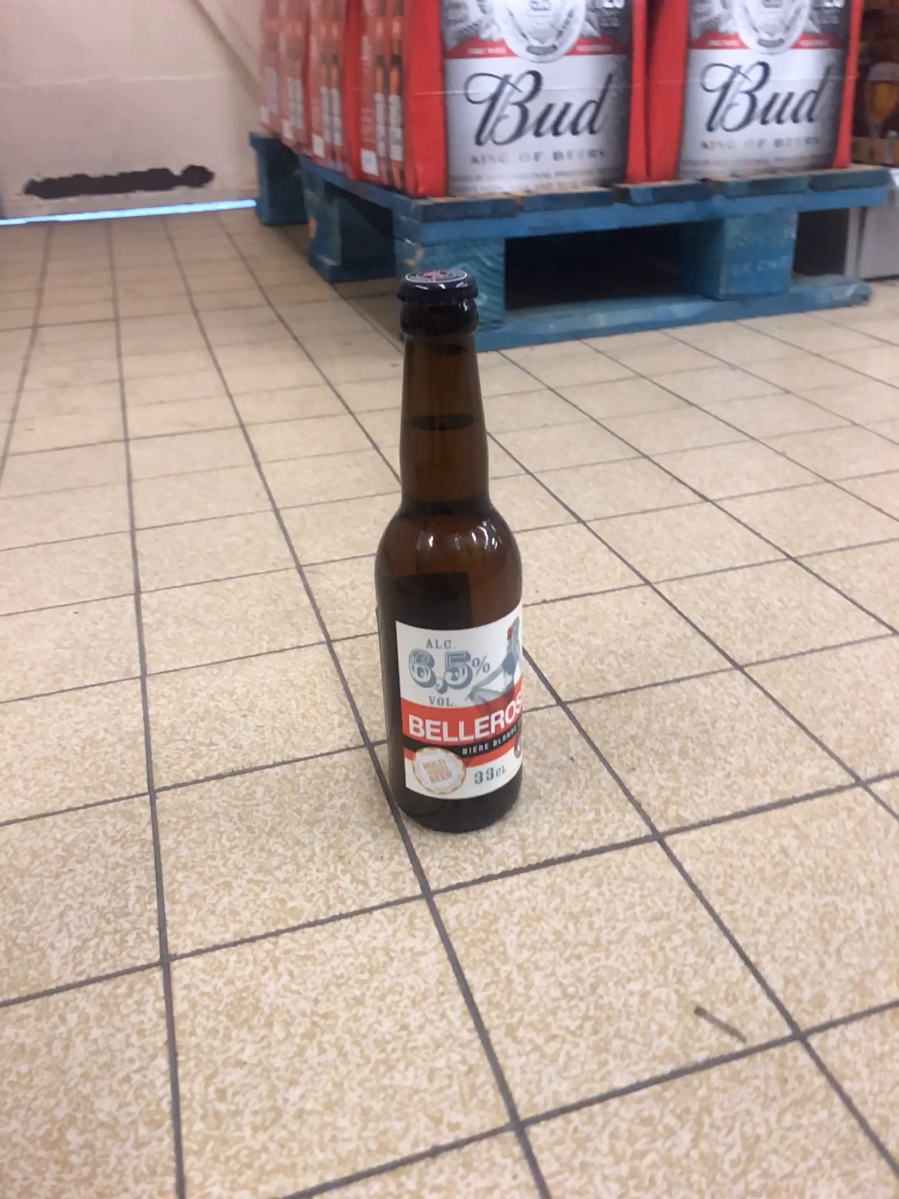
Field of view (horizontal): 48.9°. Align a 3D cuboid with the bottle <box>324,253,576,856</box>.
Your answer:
[{"bbox_3d":[0.002,-0.014,0.391,0.060,0.219,0.070,-17,31,-25],"label":"bottle"}]
